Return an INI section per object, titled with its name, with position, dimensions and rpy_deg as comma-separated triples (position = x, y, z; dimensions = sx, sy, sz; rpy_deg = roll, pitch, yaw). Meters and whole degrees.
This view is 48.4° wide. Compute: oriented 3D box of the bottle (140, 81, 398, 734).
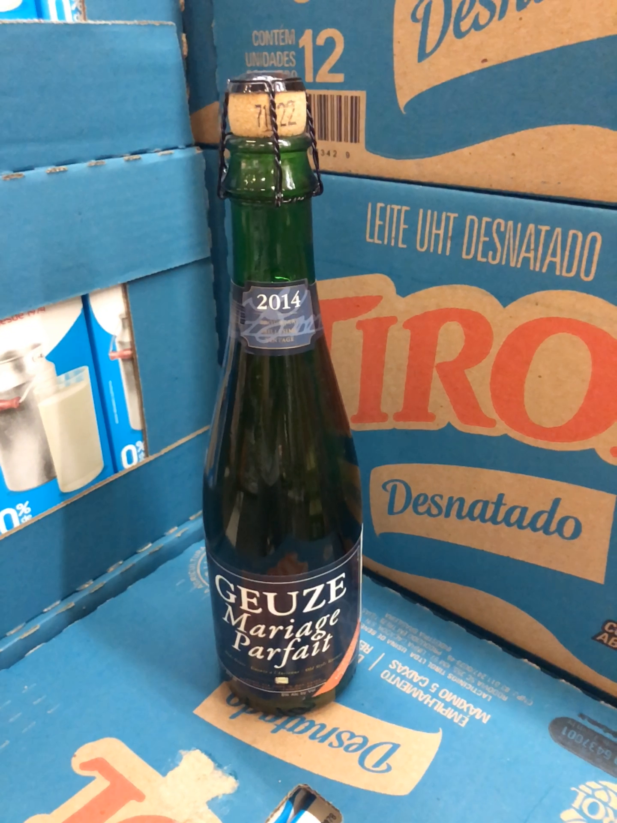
[bottle]
position = -0.012, 0.014, 0.272
dimensions = 0.070, 0.258, 0.060
rpy_deg = 0, 27, -1
